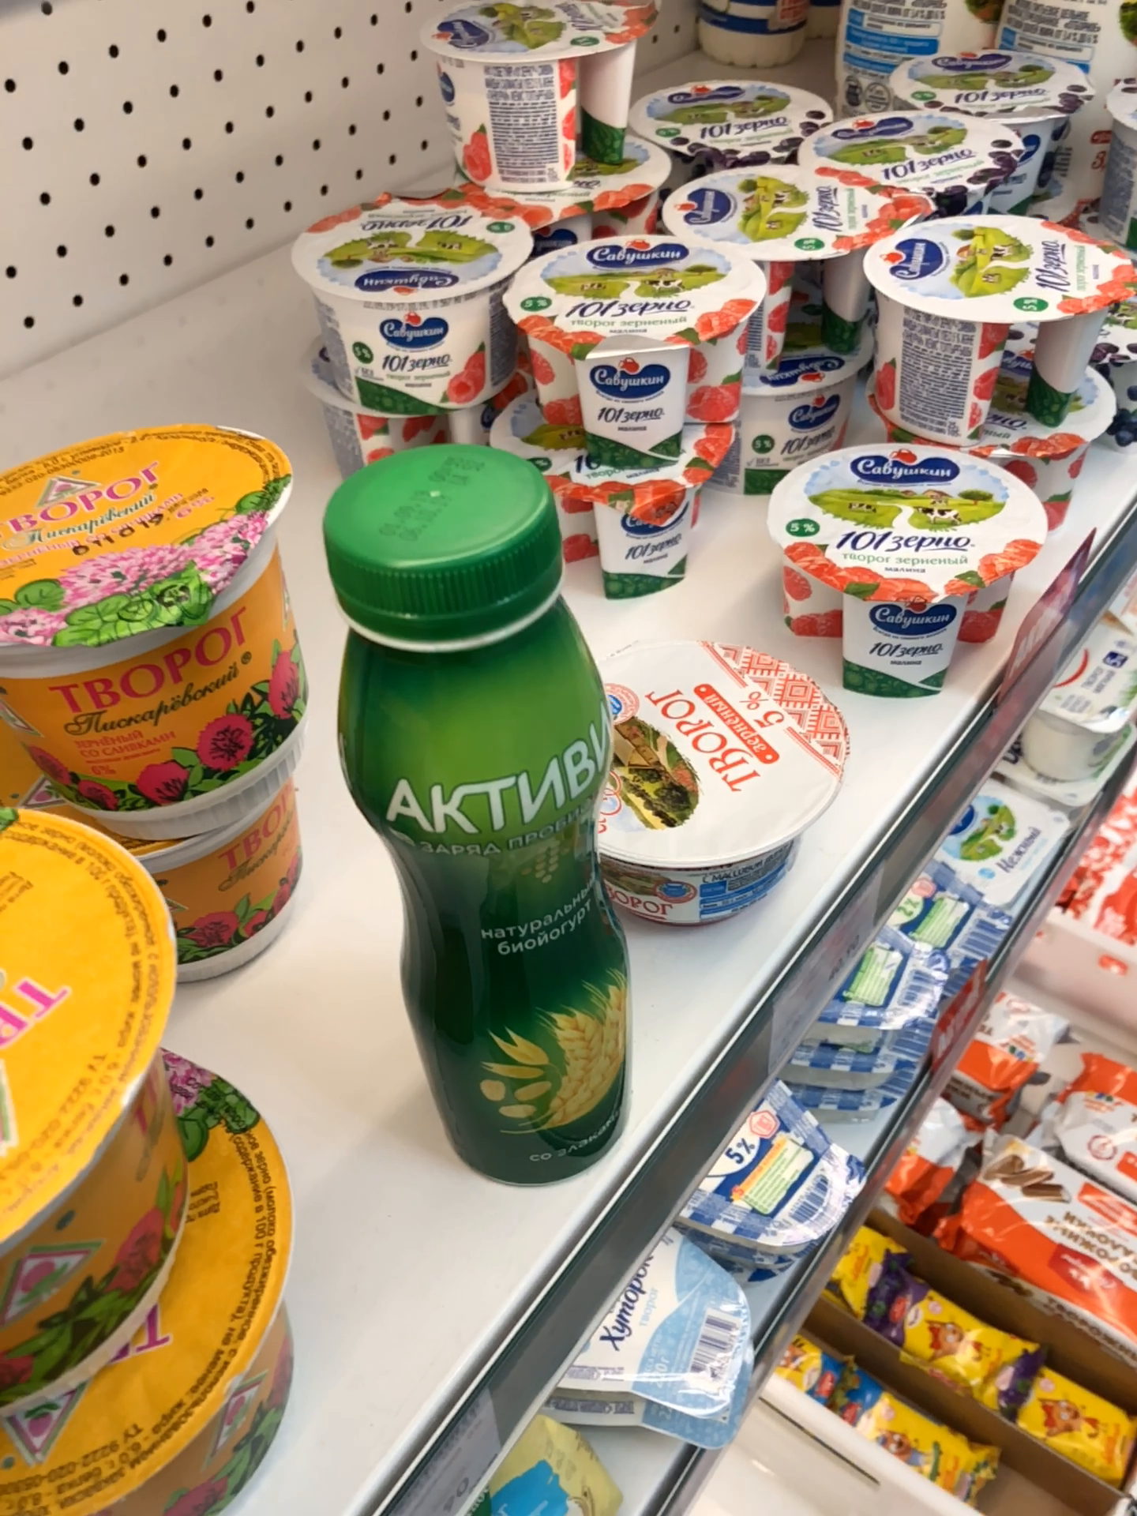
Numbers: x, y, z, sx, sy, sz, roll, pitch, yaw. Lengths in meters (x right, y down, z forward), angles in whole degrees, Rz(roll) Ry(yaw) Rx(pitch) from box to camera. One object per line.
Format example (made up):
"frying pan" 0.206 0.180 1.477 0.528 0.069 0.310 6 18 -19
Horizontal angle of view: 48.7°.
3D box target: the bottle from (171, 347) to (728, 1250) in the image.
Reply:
"bottle" -0.016 0.020 0.270 0.070 0.183 0.060 -30 50 -24
